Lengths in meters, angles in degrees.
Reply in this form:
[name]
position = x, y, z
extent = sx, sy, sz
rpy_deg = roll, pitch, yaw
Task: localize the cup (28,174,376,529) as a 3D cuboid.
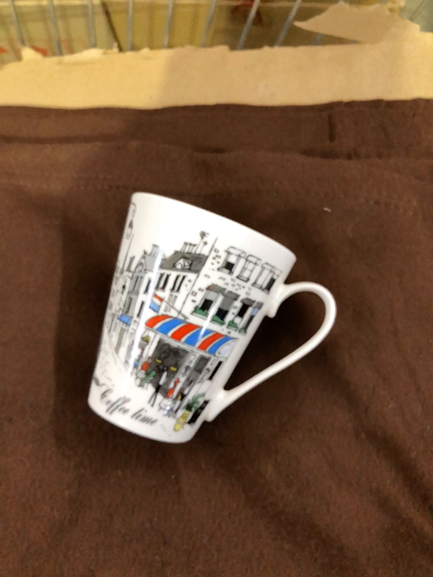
[cup]
position = -0.003, 0.026, 0.238
extent = 0.110, 0.080, 0.110
rpy_deg = -1, 84, 7
